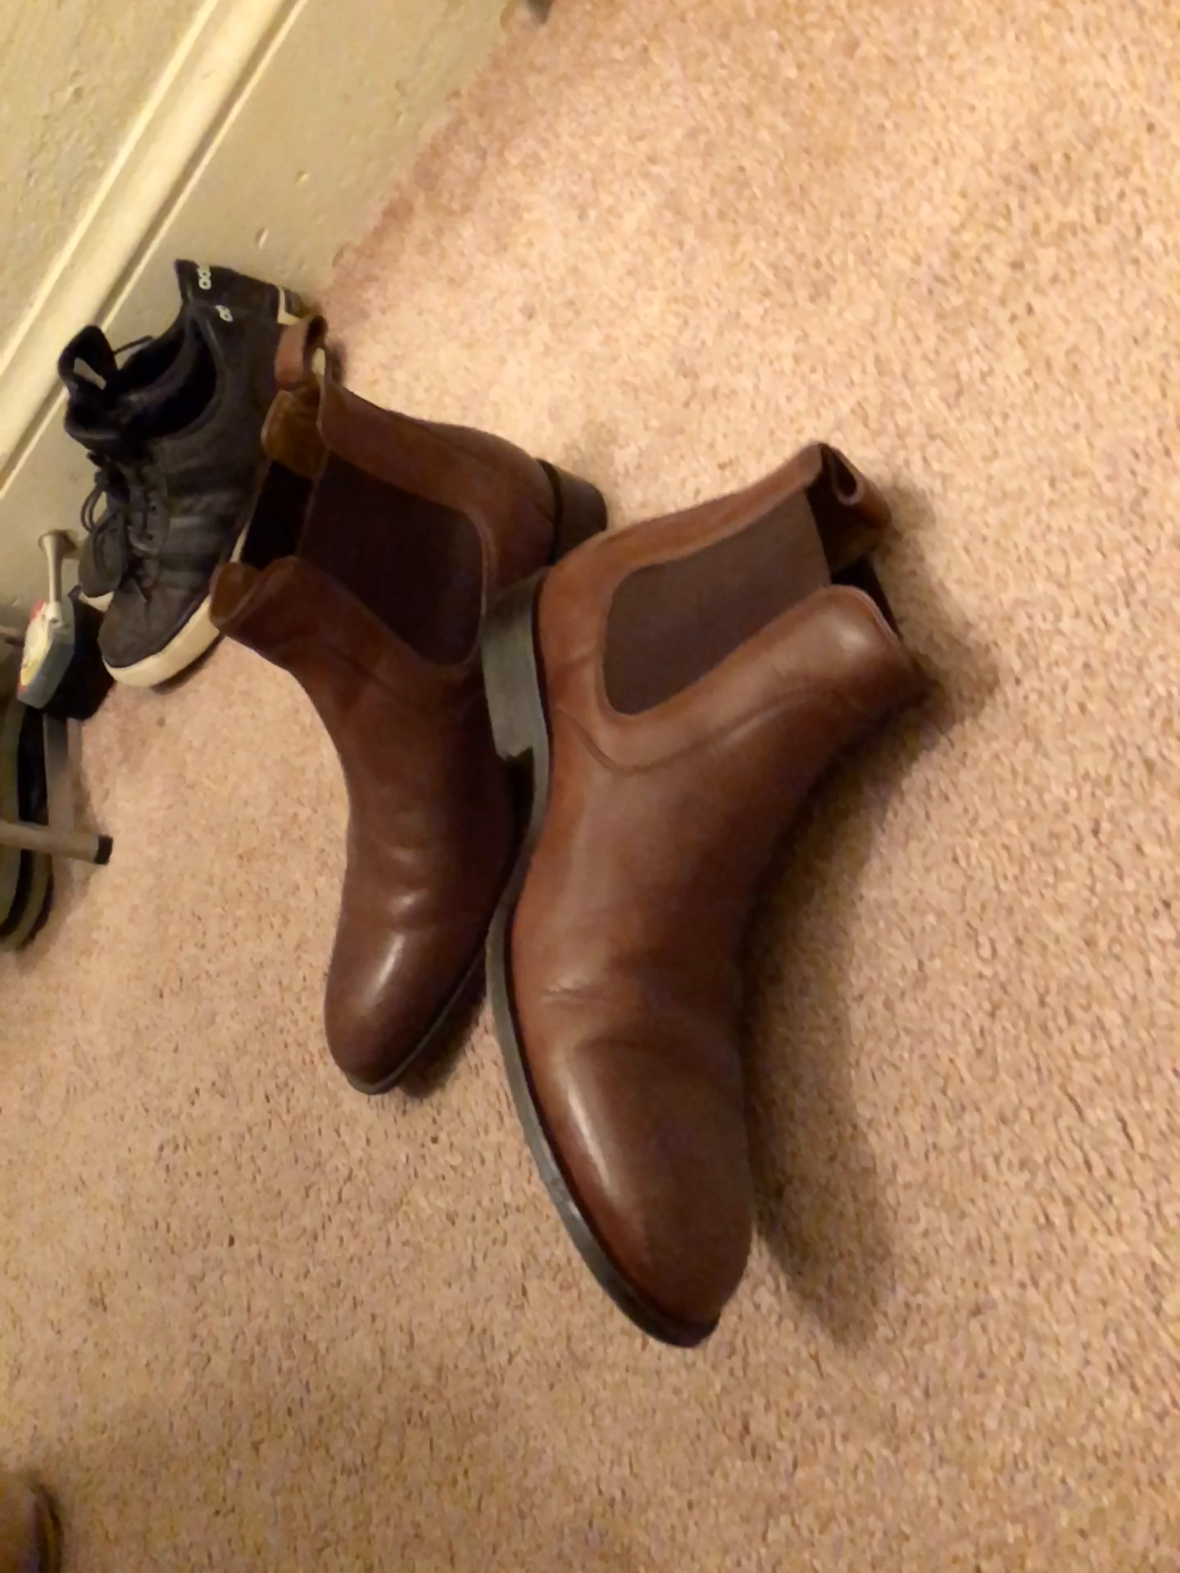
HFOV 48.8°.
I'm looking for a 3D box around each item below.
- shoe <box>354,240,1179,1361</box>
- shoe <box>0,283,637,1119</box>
[{"bbox_3d":[0.039,0.004,0.422,0.169,0.118,0.297,-37,51,31],"label":"shoe"},{"bbox_3d":[-0.114,-0.028,0.554,0.110,0.158,0.296,12,84,50],"label":"shoe"}]
